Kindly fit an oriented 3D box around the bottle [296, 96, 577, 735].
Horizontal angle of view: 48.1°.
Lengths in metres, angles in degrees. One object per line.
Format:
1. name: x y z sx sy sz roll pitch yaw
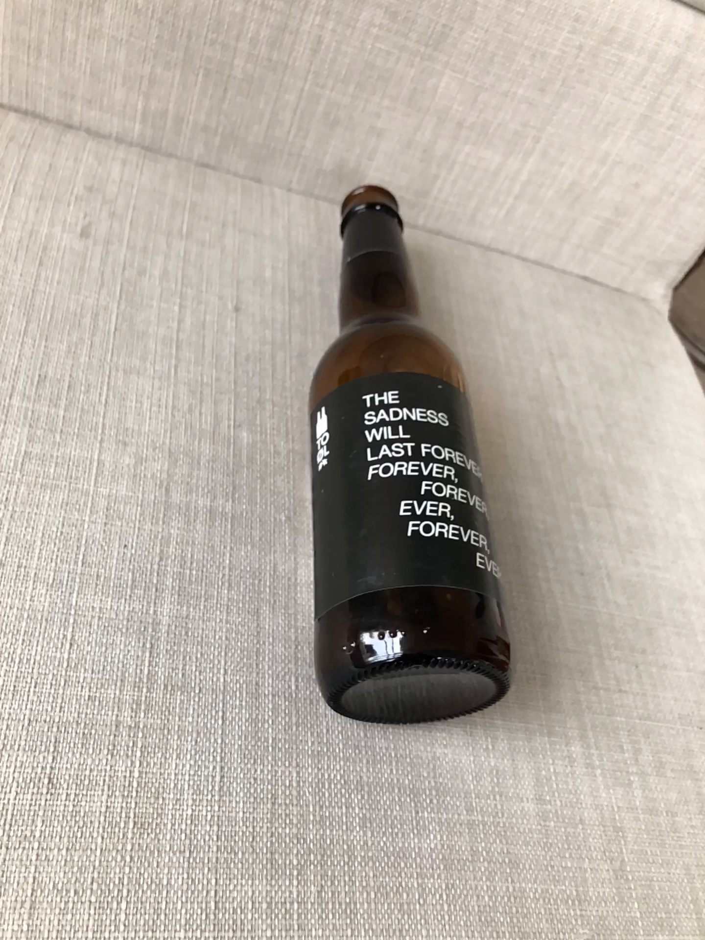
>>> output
1. bottle: 0.018 -0.033 0.293 0.060 0.060 0.239 11 54 -20
